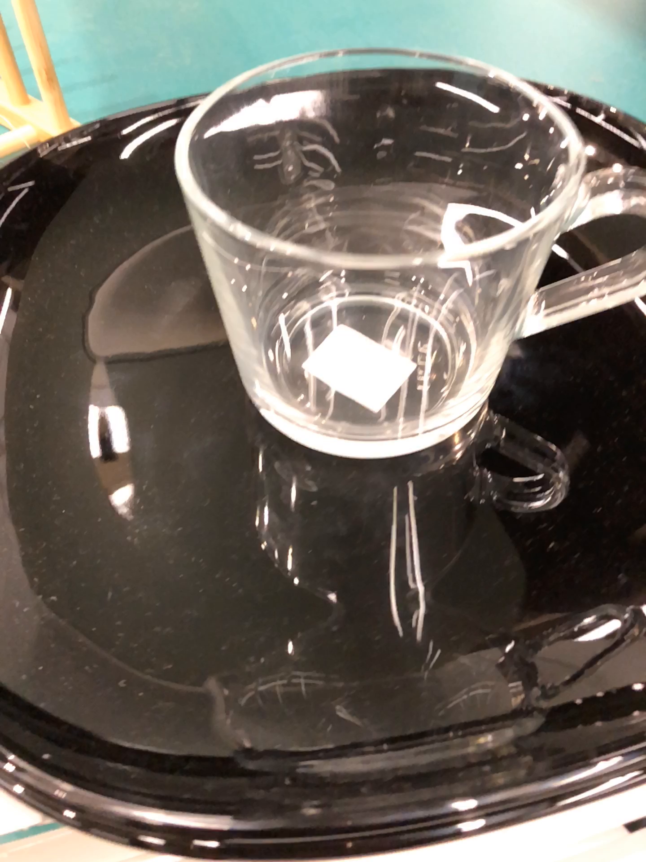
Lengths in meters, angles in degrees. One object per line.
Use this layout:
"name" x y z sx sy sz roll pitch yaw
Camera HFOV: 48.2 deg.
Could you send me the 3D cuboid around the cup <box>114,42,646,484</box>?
"cup" 0.023 -0.057 0.233 0.140 0.080 0.120 -1 49 1
